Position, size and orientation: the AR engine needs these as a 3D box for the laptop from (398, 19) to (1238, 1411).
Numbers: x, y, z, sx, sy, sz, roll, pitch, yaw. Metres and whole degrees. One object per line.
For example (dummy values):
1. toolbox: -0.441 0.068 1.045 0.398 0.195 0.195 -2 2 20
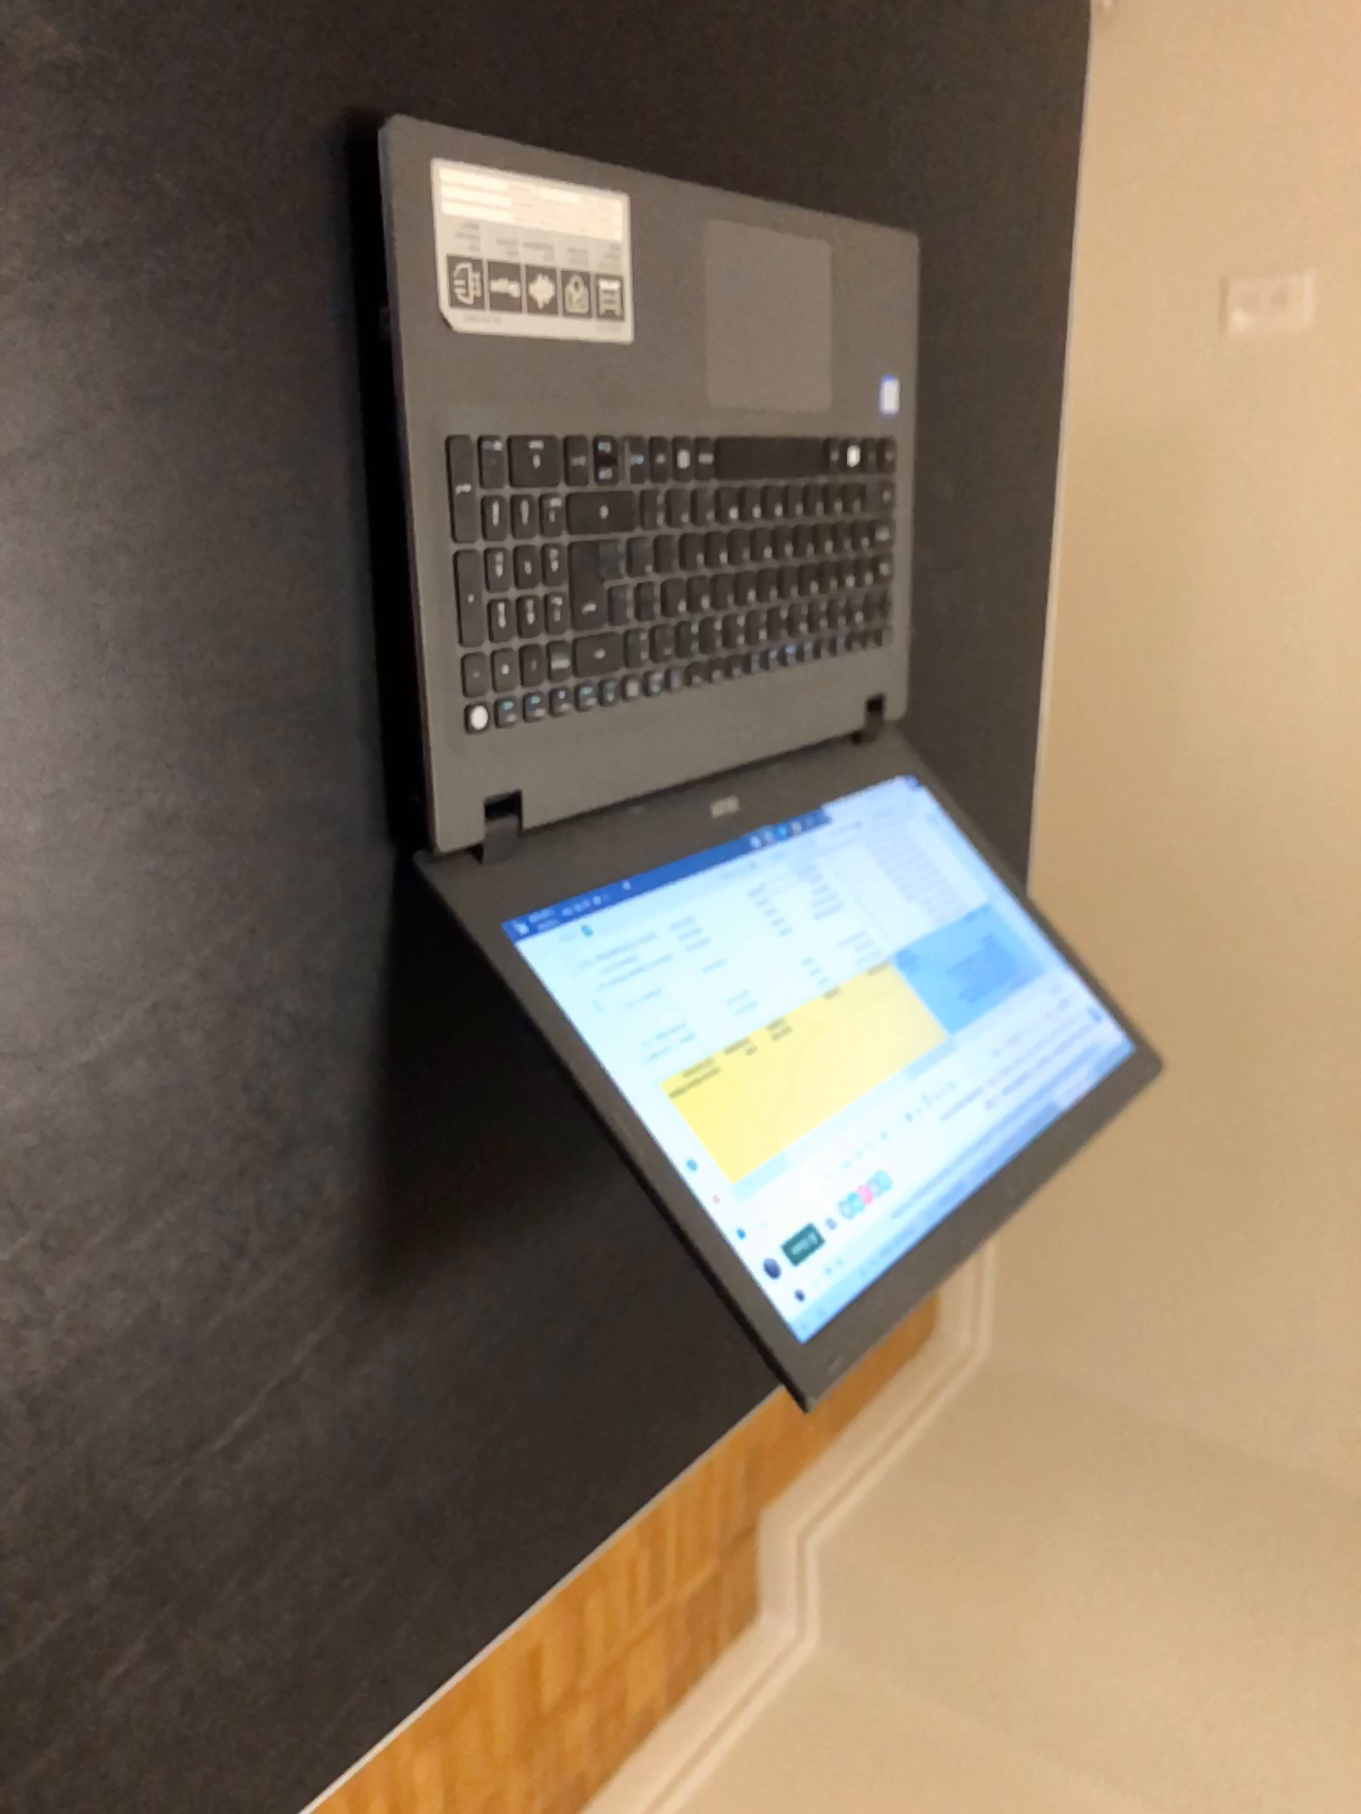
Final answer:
1. laptop: 0.084 -0.091 0.656 0.376 0.161 0.429 -22 117 -52
